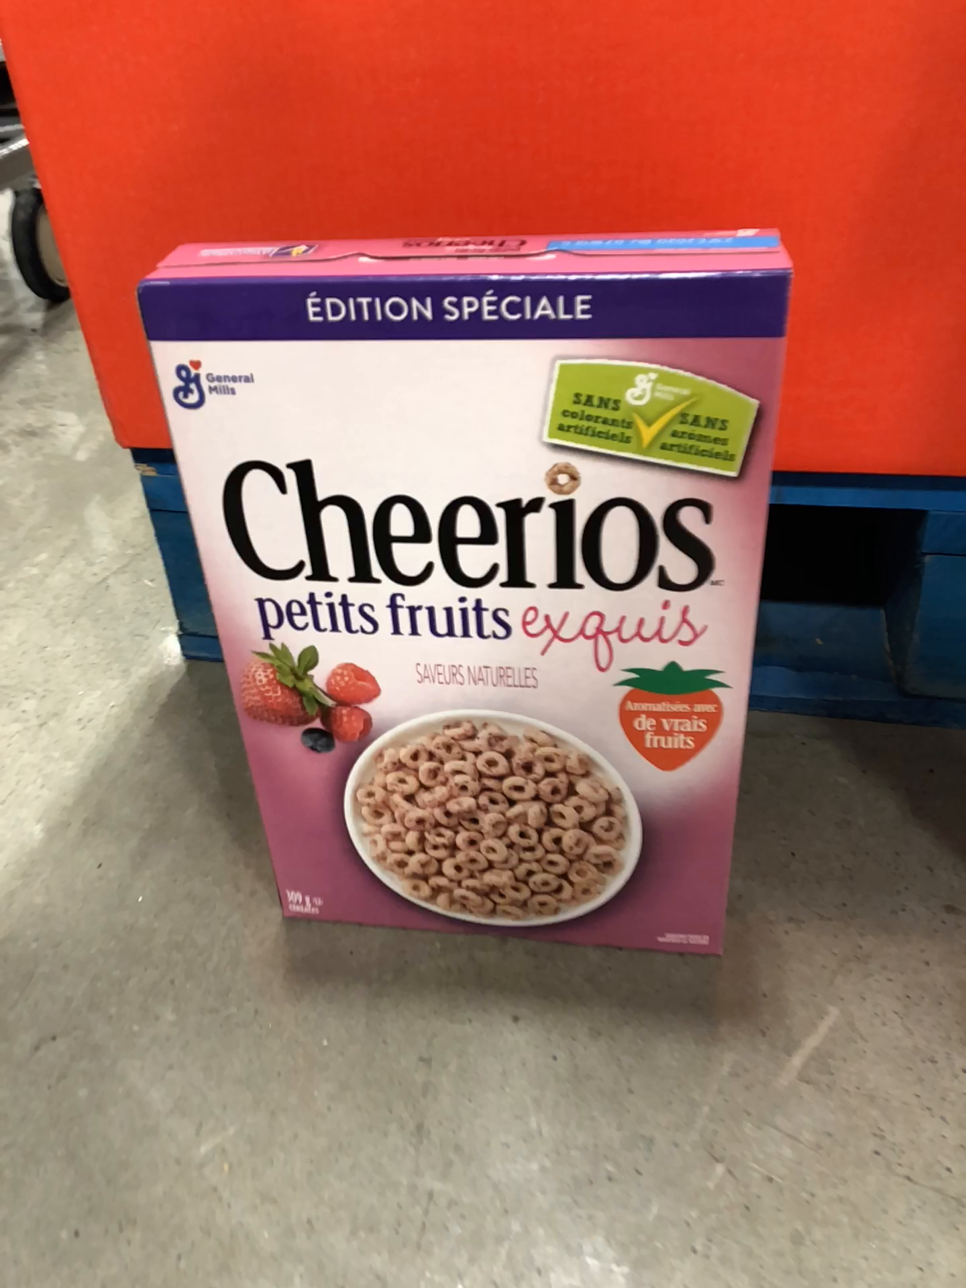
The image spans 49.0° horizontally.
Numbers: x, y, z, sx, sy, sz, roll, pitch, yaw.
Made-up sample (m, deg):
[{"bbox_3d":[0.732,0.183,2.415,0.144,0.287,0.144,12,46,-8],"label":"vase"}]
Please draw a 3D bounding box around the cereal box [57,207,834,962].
[{"bbox_3d":[-0.004,-0.007,0.397,0.220,0.279,0.060,3,35,10],"label":"cereal box"}]
